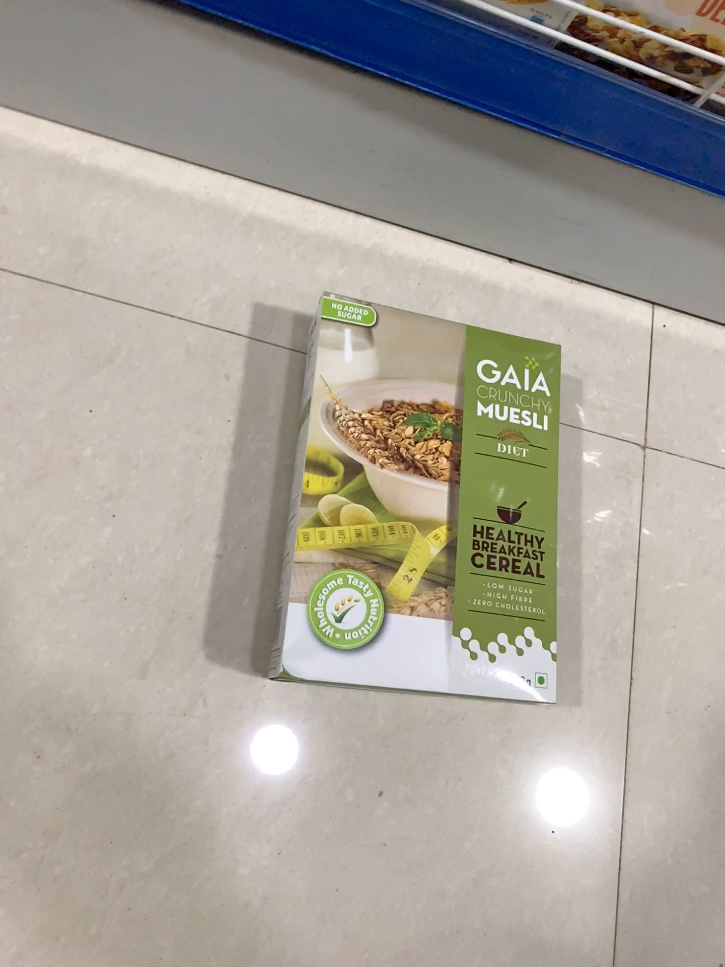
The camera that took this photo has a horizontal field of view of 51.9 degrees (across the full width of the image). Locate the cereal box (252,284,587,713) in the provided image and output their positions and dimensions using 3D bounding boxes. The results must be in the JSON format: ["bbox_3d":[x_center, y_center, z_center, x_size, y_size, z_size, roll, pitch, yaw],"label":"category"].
[{"bbox_3d":[0.039,0.014,0.462,0.180,0.070,0.230,8,75,-13],"label":"cereal box"}]
